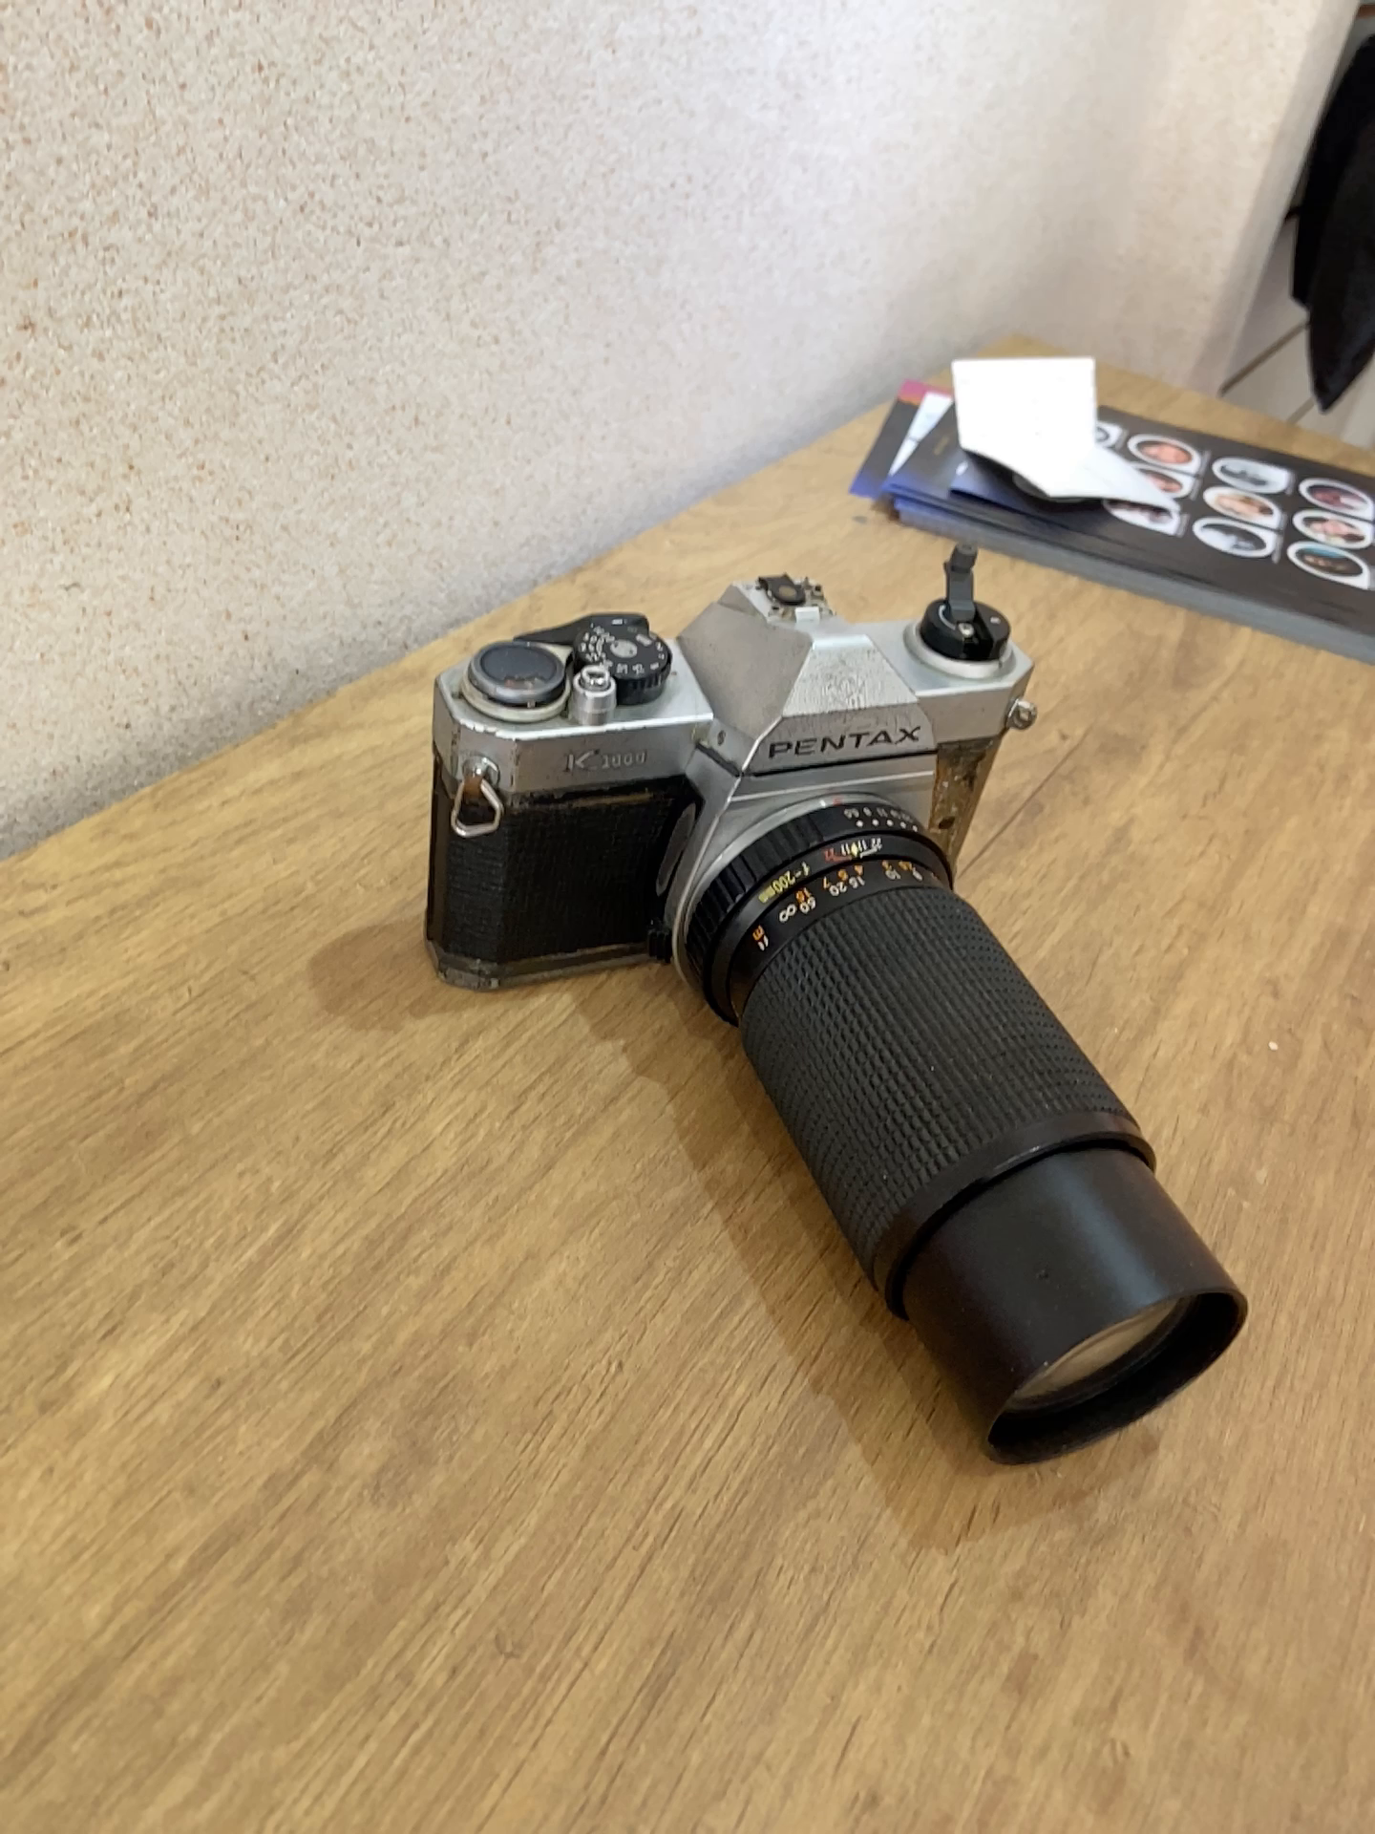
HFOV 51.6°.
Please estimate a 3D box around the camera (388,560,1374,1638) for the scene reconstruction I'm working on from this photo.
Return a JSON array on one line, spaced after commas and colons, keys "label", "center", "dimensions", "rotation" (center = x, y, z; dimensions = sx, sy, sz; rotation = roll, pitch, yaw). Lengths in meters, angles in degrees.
[{"label": "camera", "center": [0.038, 0.012, 0.286], "dimensions": [0.150, 0.079, 0.181], "rotation": [-11, 44, -23]}]
